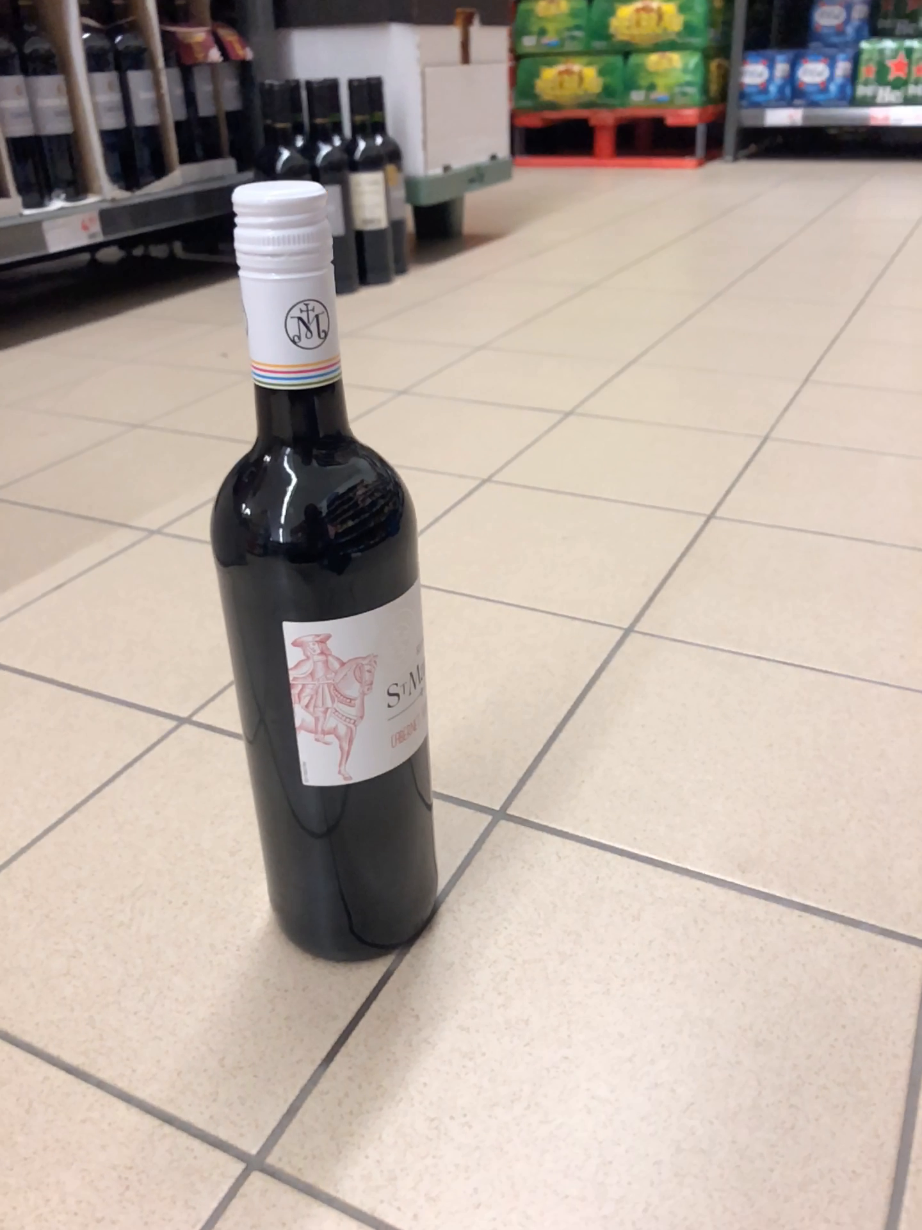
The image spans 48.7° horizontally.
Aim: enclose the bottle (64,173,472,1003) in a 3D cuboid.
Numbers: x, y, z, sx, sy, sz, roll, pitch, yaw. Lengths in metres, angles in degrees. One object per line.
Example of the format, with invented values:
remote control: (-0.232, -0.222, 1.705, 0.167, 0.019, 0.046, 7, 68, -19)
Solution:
bottle: (-0.054, -0.003, 0.380, 0.080, 0.288, 0.091, 11, 31, 22)
